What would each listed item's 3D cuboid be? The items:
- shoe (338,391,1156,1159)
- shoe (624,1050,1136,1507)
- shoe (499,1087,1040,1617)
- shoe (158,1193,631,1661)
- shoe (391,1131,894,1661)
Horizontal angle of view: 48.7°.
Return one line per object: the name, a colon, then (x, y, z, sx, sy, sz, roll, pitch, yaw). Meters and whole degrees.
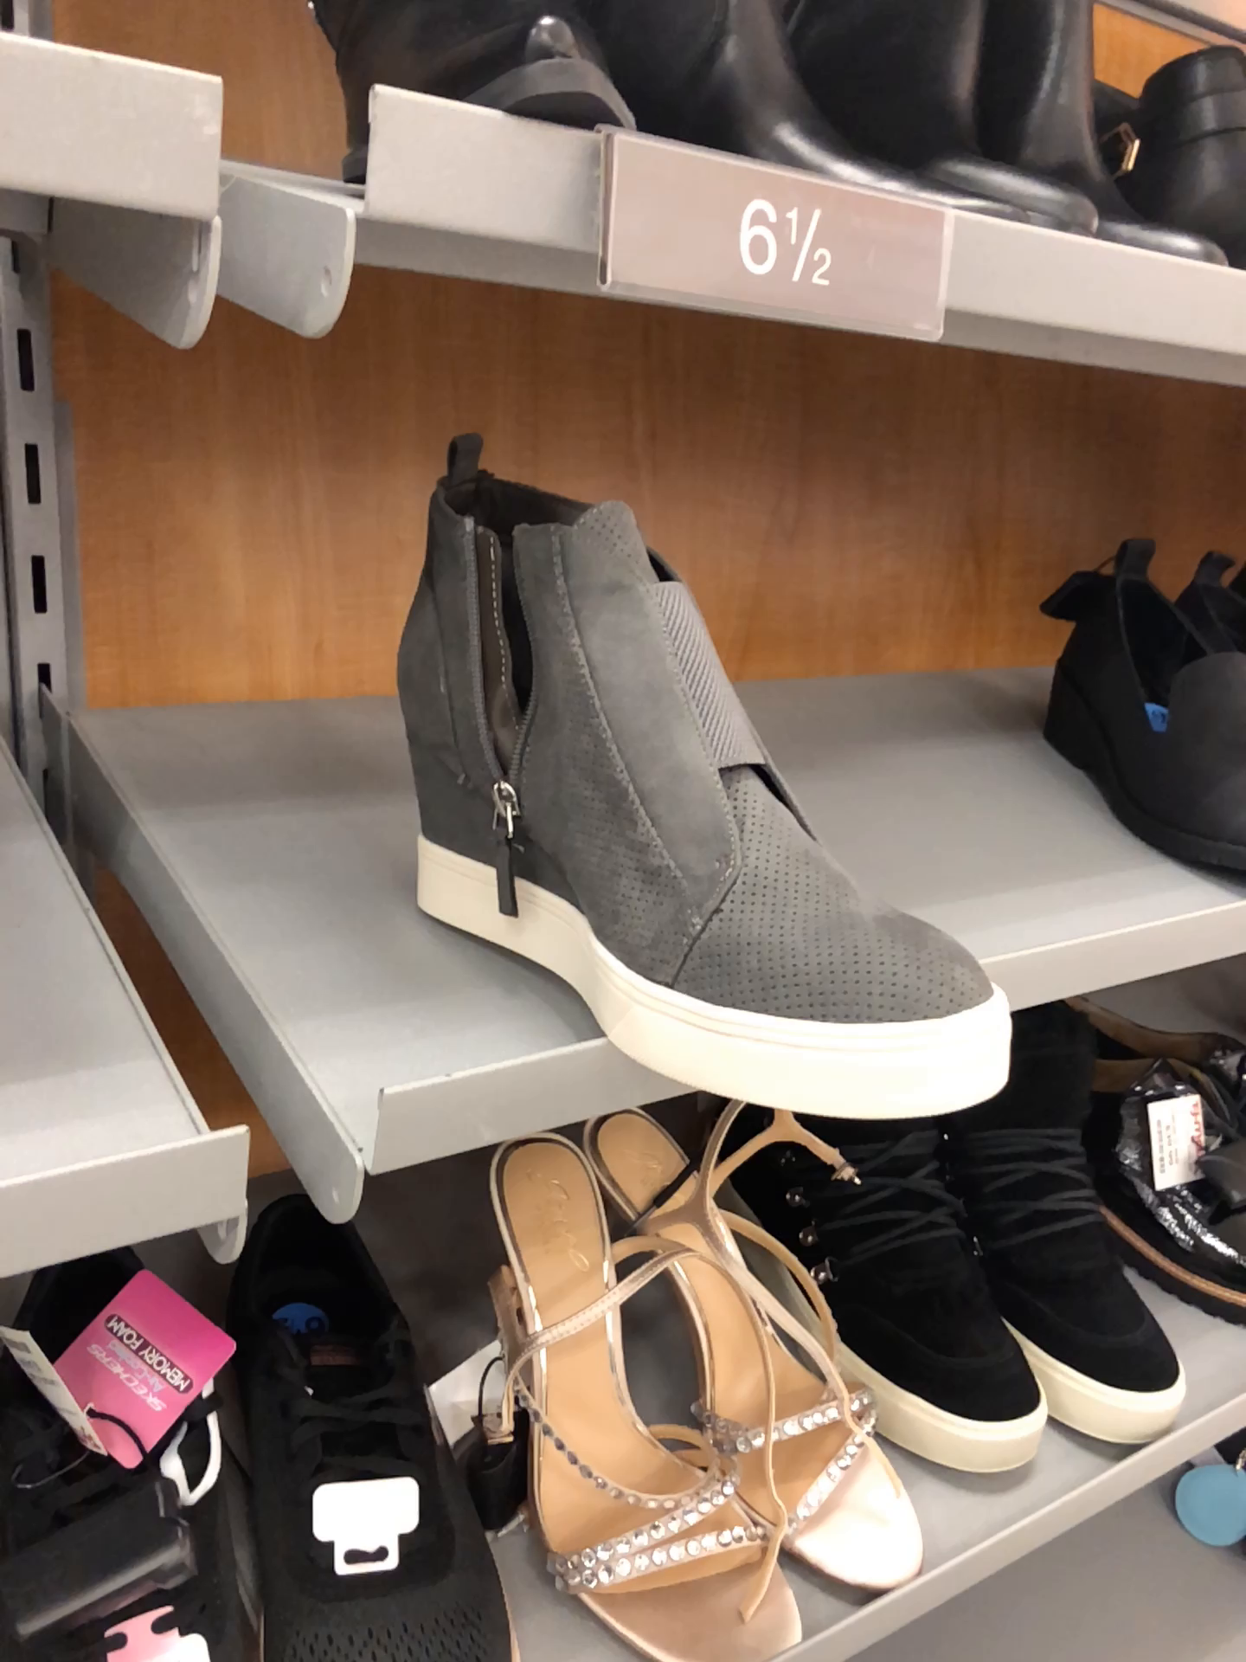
shoe: (0.015, -0.035, 0.447, 0.104, 0.173, 0.273, -7, 13, -35)
shoe: (0.117, 0.213, 0.722, 0.104, 0.068, 0.278, -5, 20, -30)
shoe: (0.052, 0.217, 0.625, 0.084, 0.089, 0.248, -8, 21, -40)
shoe: (-0.106, 0.246, 0.537, 0.109, 0.065, 0.278, -4, 16, -24)
shoe: (-0.008, 0.228, 0.584, 0.084, 0.085, 0.250, -6, 18, -33)
